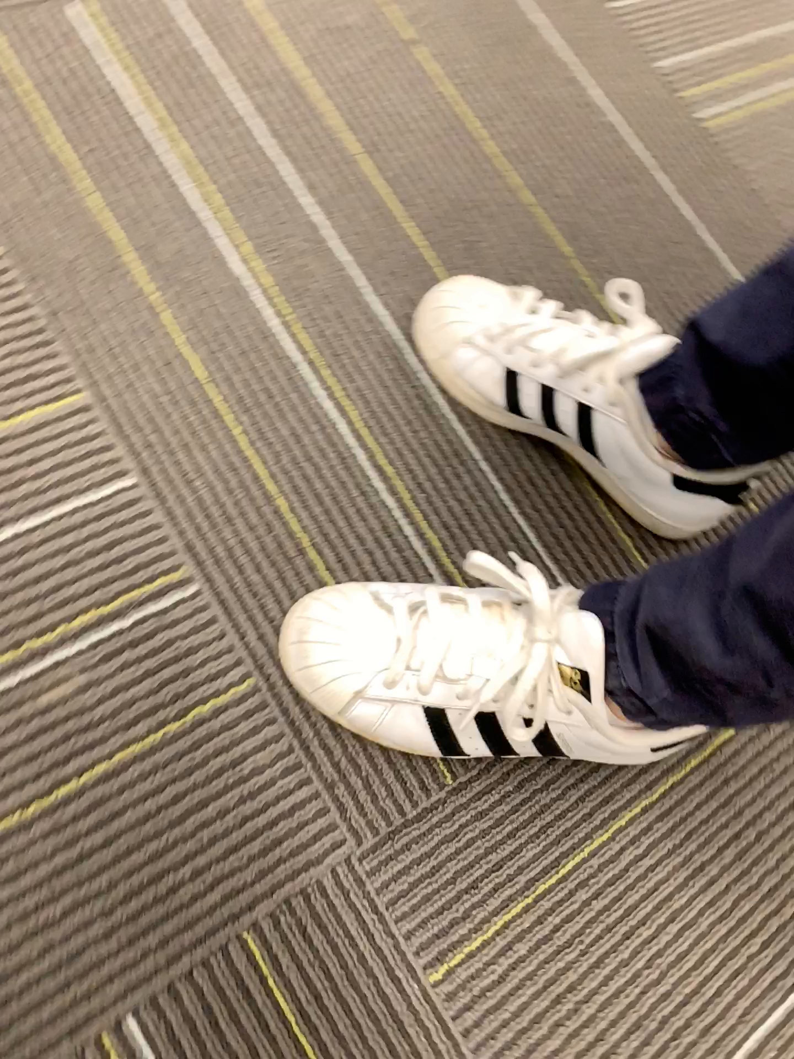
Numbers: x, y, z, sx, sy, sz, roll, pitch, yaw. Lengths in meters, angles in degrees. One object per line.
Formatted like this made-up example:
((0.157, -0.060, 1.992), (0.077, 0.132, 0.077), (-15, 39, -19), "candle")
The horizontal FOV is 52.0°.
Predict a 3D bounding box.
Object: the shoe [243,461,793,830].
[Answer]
((0.065, 0.073, 0.441), (0.262, 0.104, 0.108), (18, 65, -9), "shoe")

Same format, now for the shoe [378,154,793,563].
((0.133, -0.107, 0.543), (0.258, 0.104, 0.105), (35, 63, -1), "shoe")
